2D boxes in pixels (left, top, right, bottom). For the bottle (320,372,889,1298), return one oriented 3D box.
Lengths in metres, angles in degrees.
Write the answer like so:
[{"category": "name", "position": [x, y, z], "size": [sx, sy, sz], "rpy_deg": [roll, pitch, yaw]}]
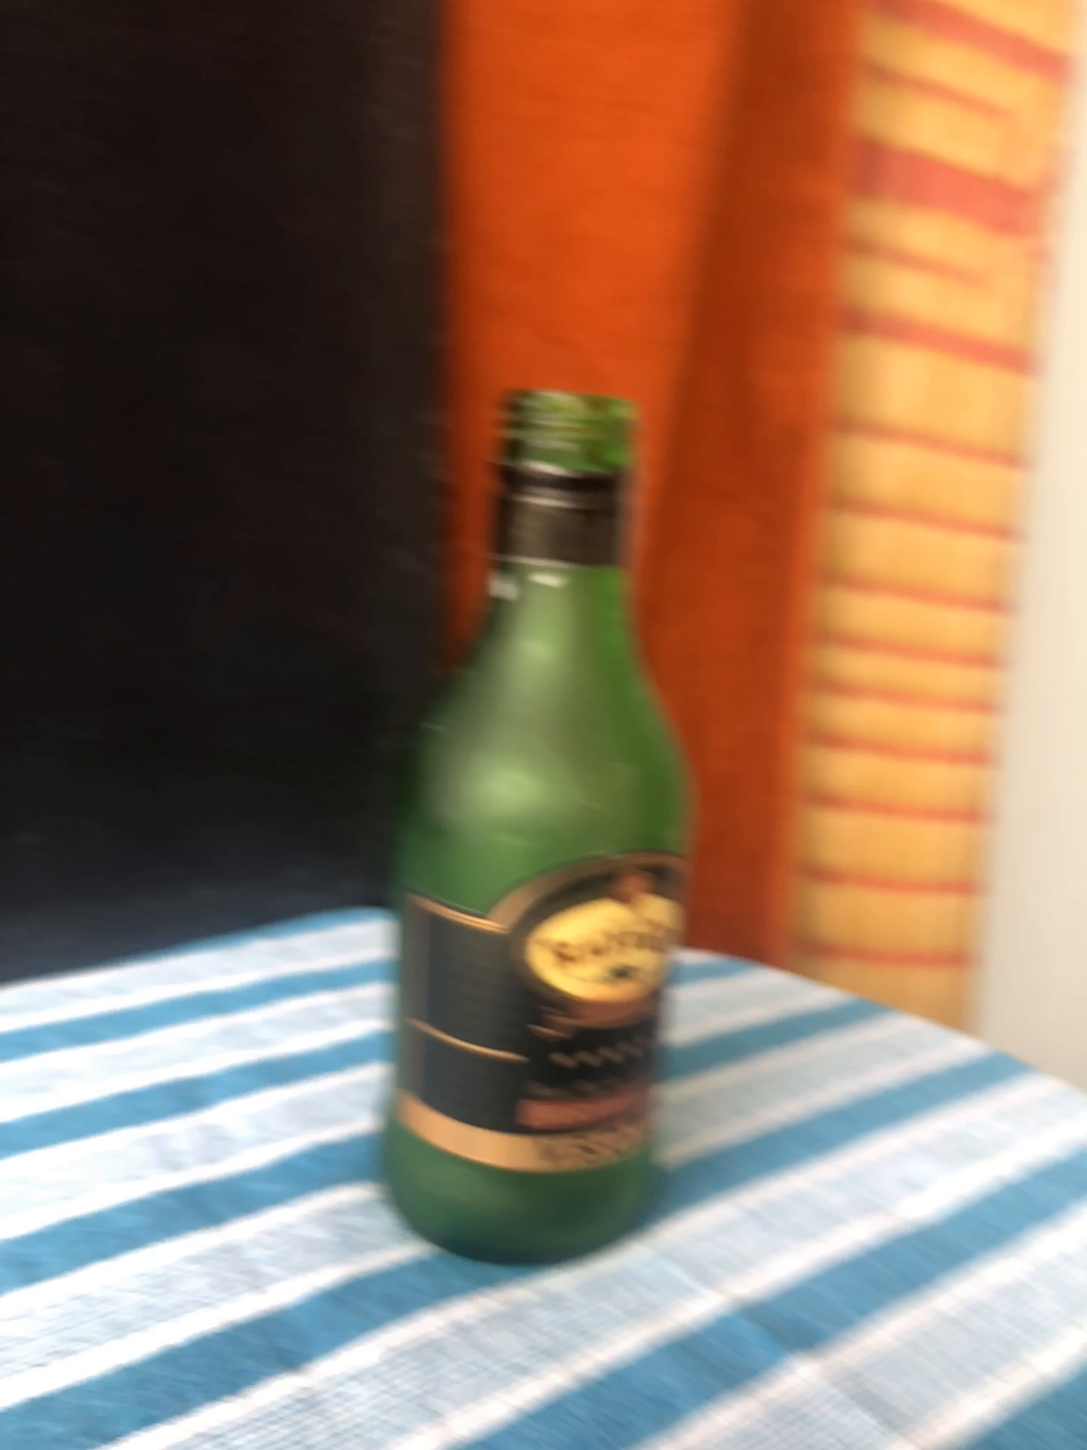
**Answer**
[{"category": "bottle", "position": [0.007, 0.013, 0.221], "size": [0.060, 0.140, 0.060], "rpy_deg": [7, 10, -1]}]
